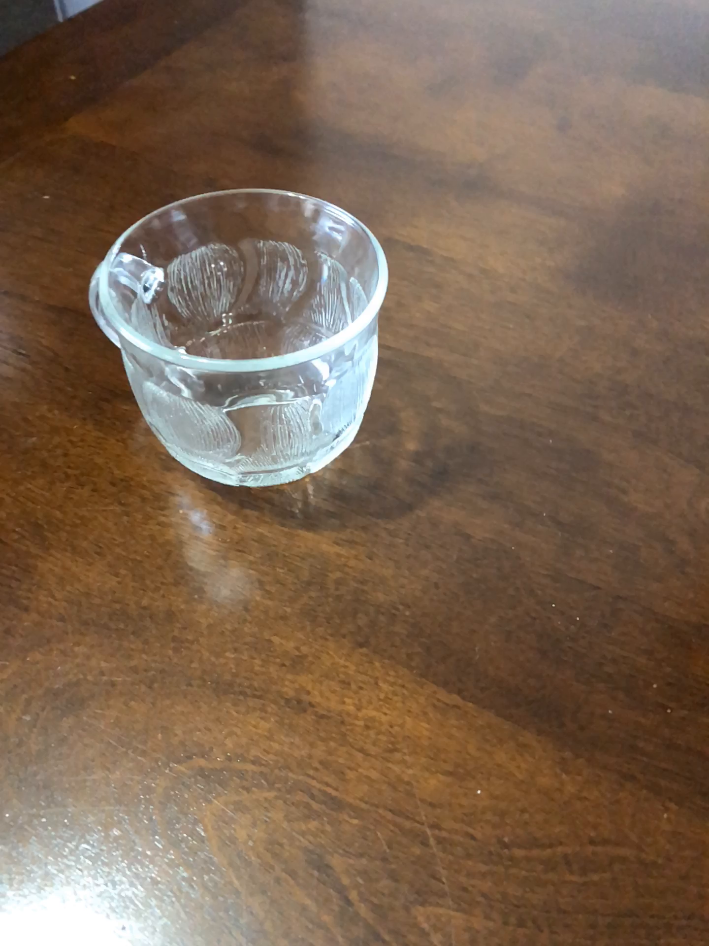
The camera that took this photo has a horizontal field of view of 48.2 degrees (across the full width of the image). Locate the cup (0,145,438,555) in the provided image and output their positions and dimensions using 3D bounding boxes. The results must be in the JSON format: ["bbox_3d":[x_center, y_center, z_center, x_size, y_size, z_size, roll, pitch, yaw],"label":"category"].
[{"bbox_3d":[-0.040,-0.040,0.229,0.100,0.050,0.080,24,54,18],"label":"cup"}]
